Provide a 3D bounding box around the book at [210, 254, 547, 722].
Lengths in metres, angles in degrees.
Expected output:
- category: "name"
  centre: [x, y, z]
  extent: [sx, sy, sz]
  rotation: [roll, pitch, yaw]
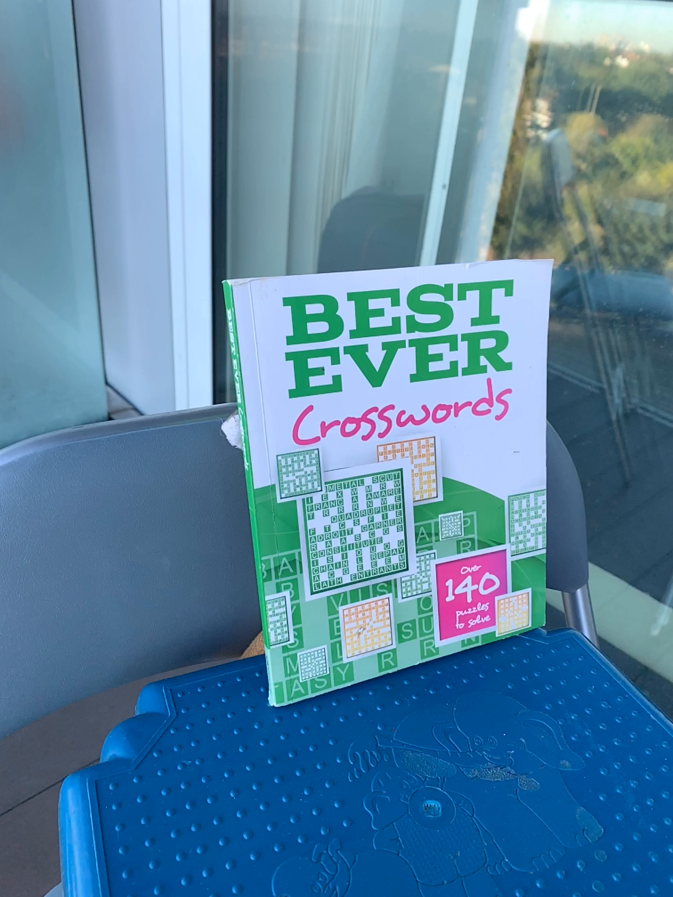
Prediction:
- category: "book"
  centre: [0.030, 0.012, 0.335]
  extent: [0.157, 0.196, 0.030]
  rotation: [-9, 13, -24]
